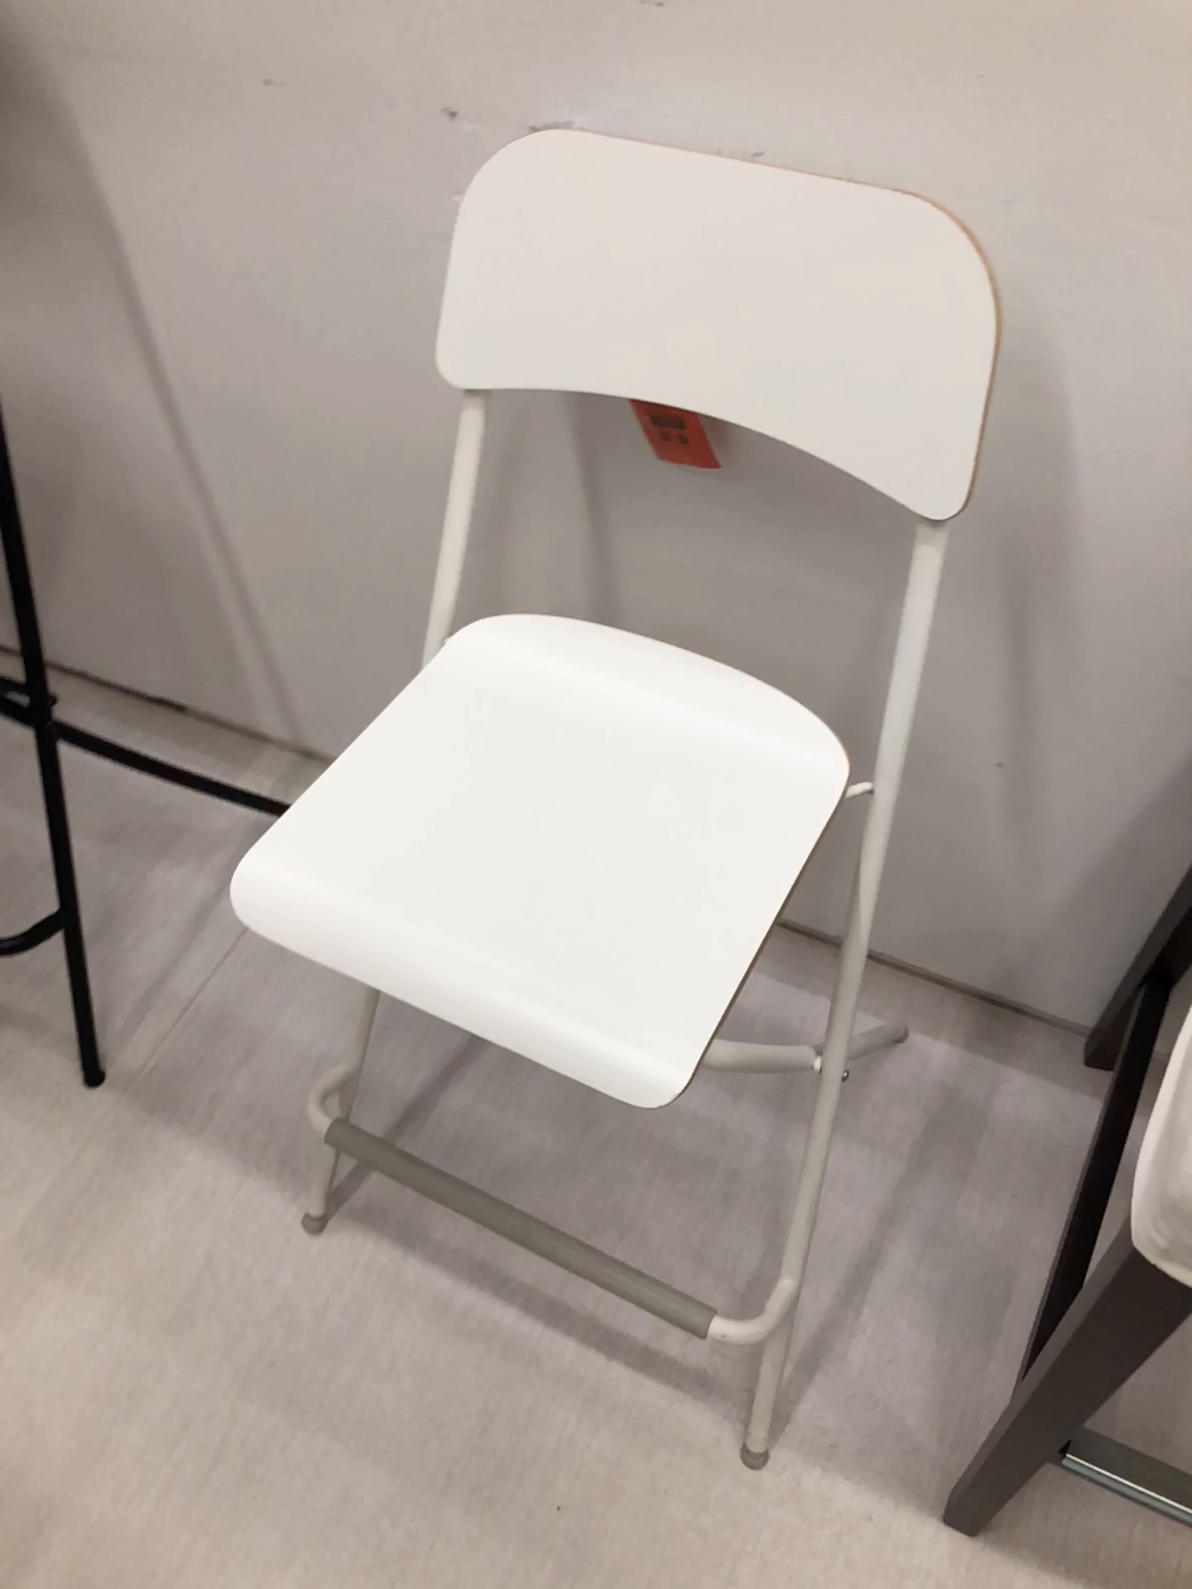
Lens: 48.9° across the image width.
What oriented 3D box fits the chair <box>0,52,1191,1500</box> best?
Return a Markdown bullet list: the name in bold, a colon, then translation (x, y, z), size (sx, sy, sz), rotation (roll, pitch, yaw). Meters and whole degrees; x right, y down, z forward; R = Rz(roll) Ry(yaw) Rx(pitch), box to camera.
- **chair**: translation (-0.006, 0.059, 0.970), size (0.531, 0.895, 0.482), rotation (19, 55, 19)
